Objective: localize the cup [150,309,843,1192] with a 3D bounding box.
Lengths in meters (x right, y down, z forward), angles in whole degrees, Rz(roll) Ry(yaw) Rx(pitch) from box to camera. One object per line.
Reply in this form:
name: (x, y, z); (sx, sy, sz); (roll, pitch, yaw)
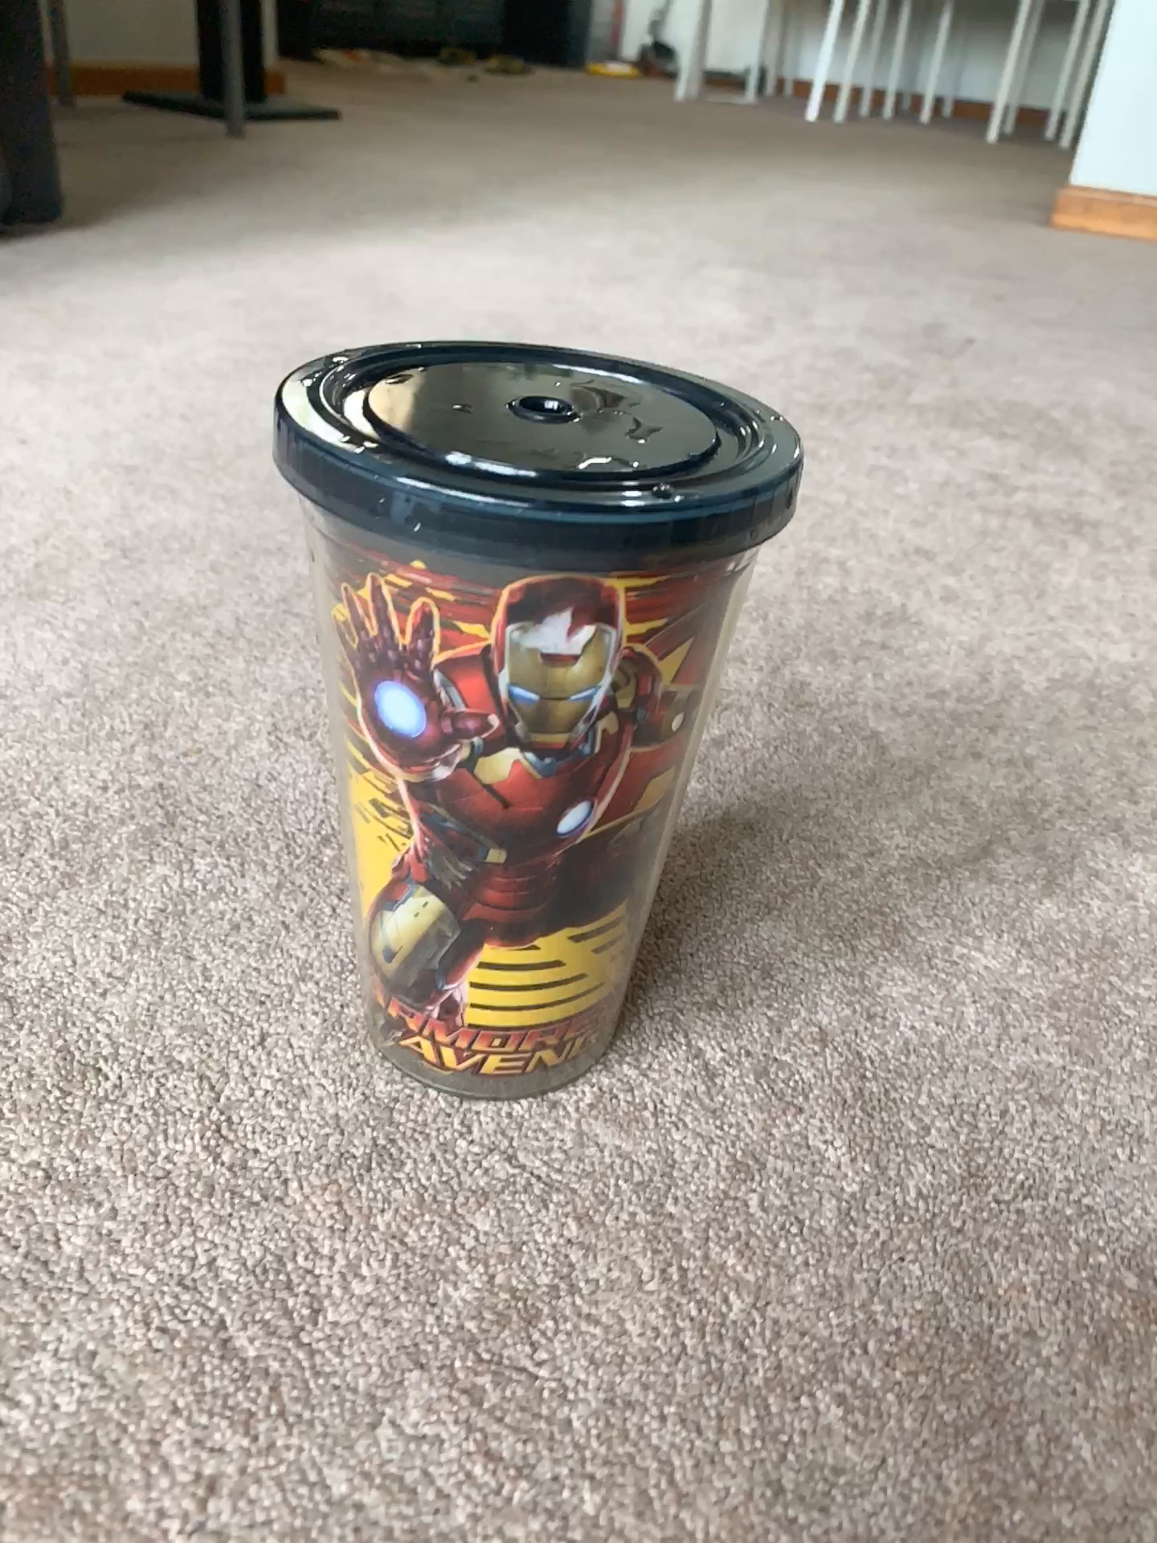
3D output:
cup: (-0.011, -0.010, 0.256); (0.100, 0.139, 0.101); (4, 32, -3)
